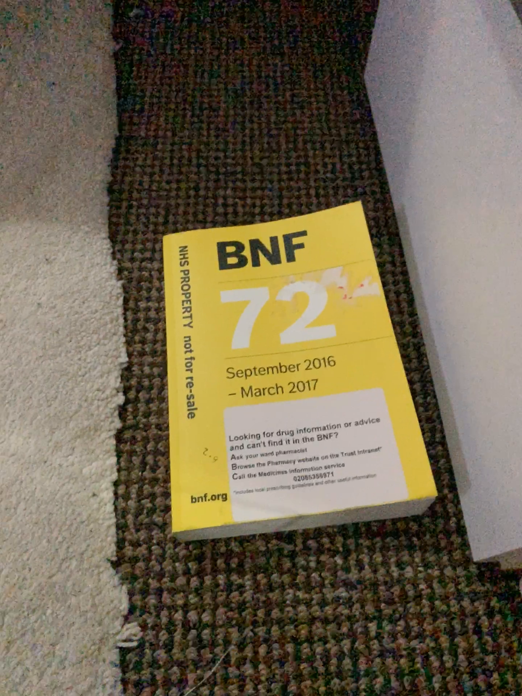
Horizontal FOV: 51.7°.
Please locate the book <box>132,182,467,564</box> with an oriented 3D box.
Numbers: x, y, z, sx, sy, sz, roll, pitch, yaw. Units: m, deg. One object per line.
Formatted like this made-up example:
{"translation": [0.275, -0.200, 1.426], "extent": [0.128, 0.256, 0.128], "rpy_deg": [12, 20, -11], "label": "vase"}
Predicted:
{"translation": [0.008, 0.003, 0.334], "extent": [0.160, 0.050, 0.221], "rpy_deg": [-6, 62, -5], "label": "book"}
